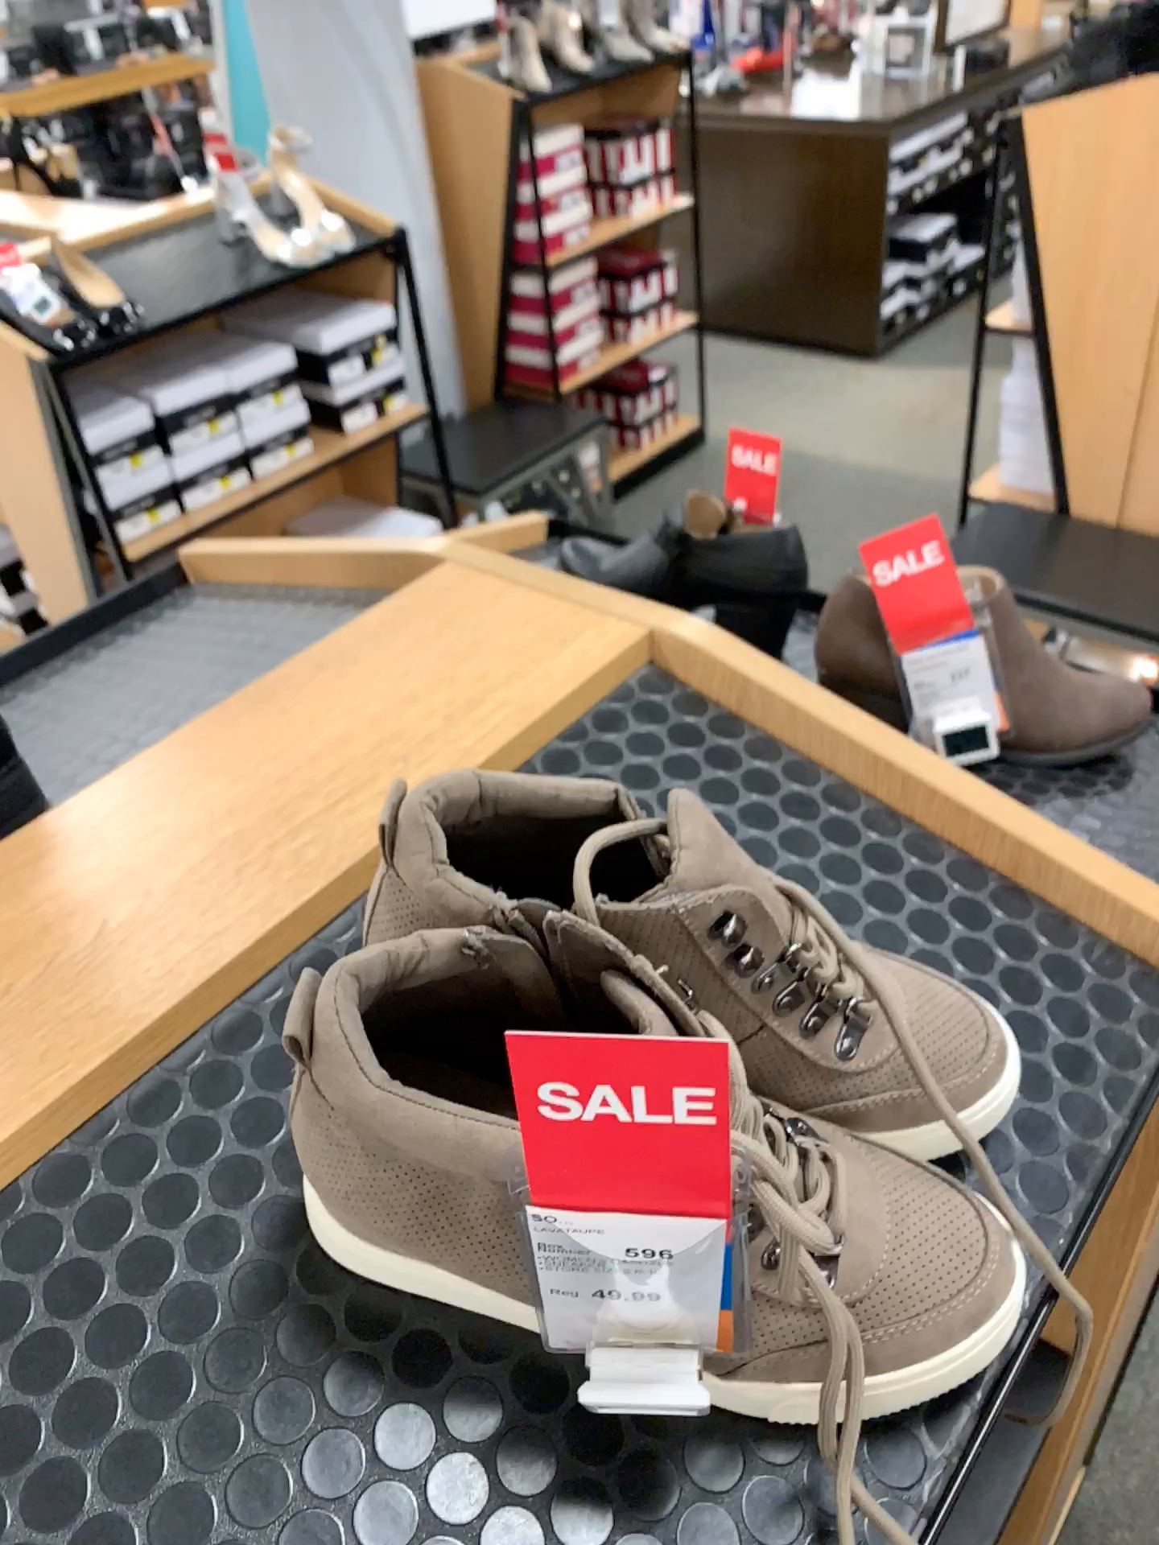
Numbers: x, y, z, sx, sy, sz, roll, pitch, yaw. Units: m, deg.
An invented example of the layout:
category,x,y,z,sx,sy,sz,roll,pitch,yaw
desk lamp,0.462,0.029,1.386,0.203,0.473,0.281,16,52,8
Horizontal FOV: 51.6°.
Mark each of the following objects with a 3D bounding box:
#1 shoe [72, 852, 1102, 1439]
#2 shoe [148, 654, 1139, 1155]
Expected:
category,x,y,z,sx,sy,sz,roll,pitch,yaw
shoe,0.006,0.122,0.391,0.260,0.160,0.101,2,45,8
shoe,0.022,0.055,0.443,0.290,0.160,0.101,-1,44,5
